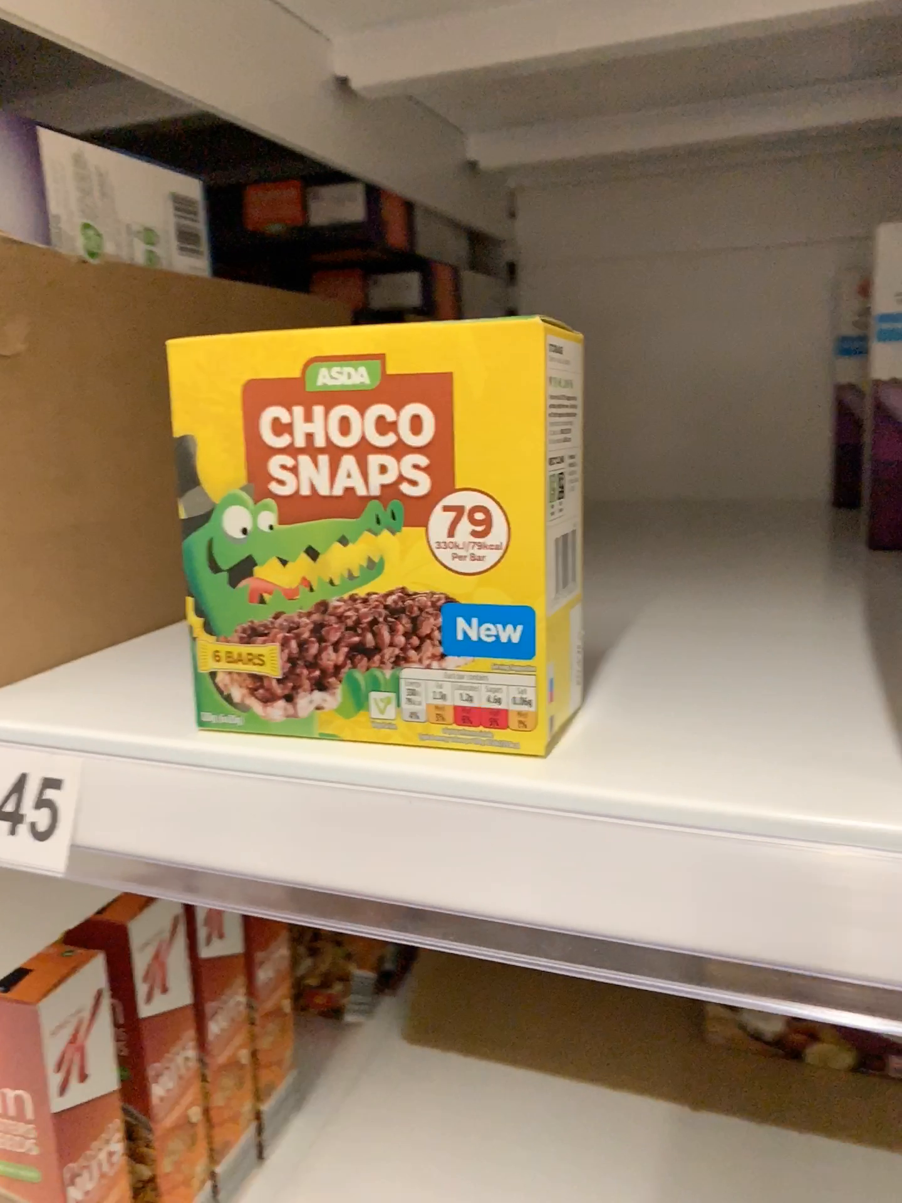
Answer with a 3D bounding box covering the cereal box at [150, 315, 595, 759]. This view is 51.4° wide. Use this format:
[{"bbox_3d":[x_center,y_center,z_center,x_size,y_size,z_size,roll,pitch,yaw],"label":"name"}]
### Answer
[{"bbox_3d":[-0.021,-0.025,0.324,0.130,0.129,0.070,2,12,18],"label":"cereal box"}]
